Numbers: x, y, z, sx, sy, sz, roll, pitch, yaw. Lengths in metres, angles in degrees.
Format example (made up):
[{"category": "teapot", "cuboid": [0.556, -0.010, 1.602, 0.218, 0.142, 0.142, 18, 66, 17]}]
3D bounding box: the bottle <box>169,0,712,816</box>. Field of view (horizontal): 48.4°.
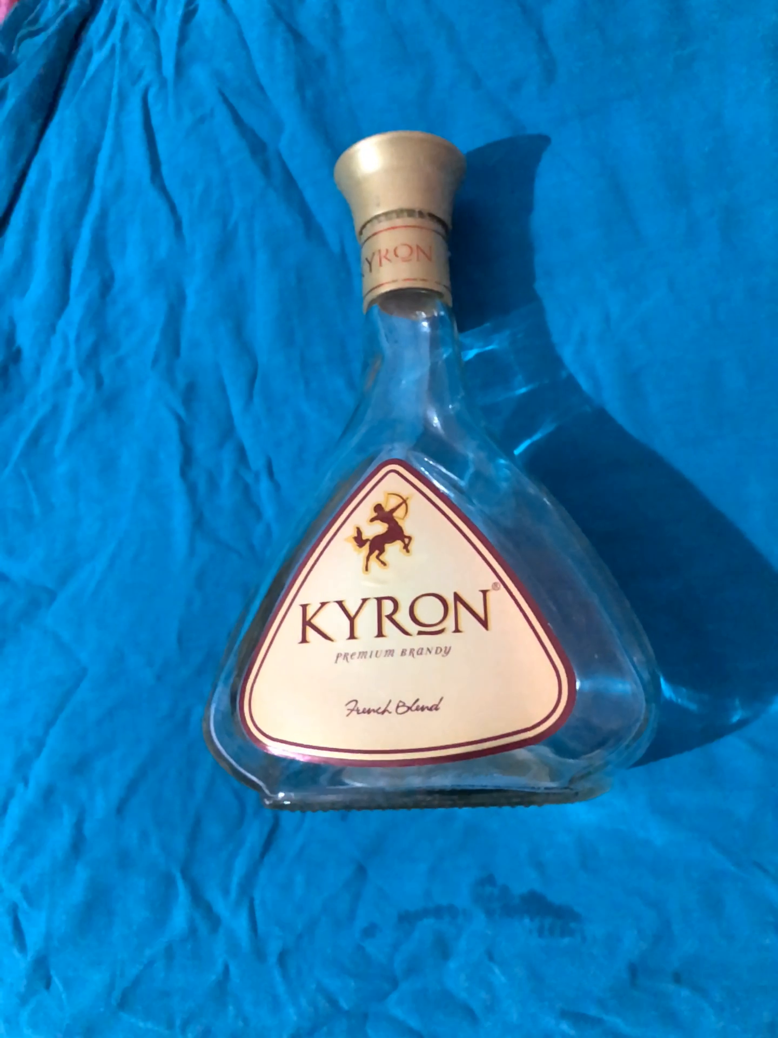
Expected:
[{"category": "bottle", "cuboid": [0.015, -0.032, 0.296, 0.150, 0.080, 0.240, -7, 80, 19]}]
